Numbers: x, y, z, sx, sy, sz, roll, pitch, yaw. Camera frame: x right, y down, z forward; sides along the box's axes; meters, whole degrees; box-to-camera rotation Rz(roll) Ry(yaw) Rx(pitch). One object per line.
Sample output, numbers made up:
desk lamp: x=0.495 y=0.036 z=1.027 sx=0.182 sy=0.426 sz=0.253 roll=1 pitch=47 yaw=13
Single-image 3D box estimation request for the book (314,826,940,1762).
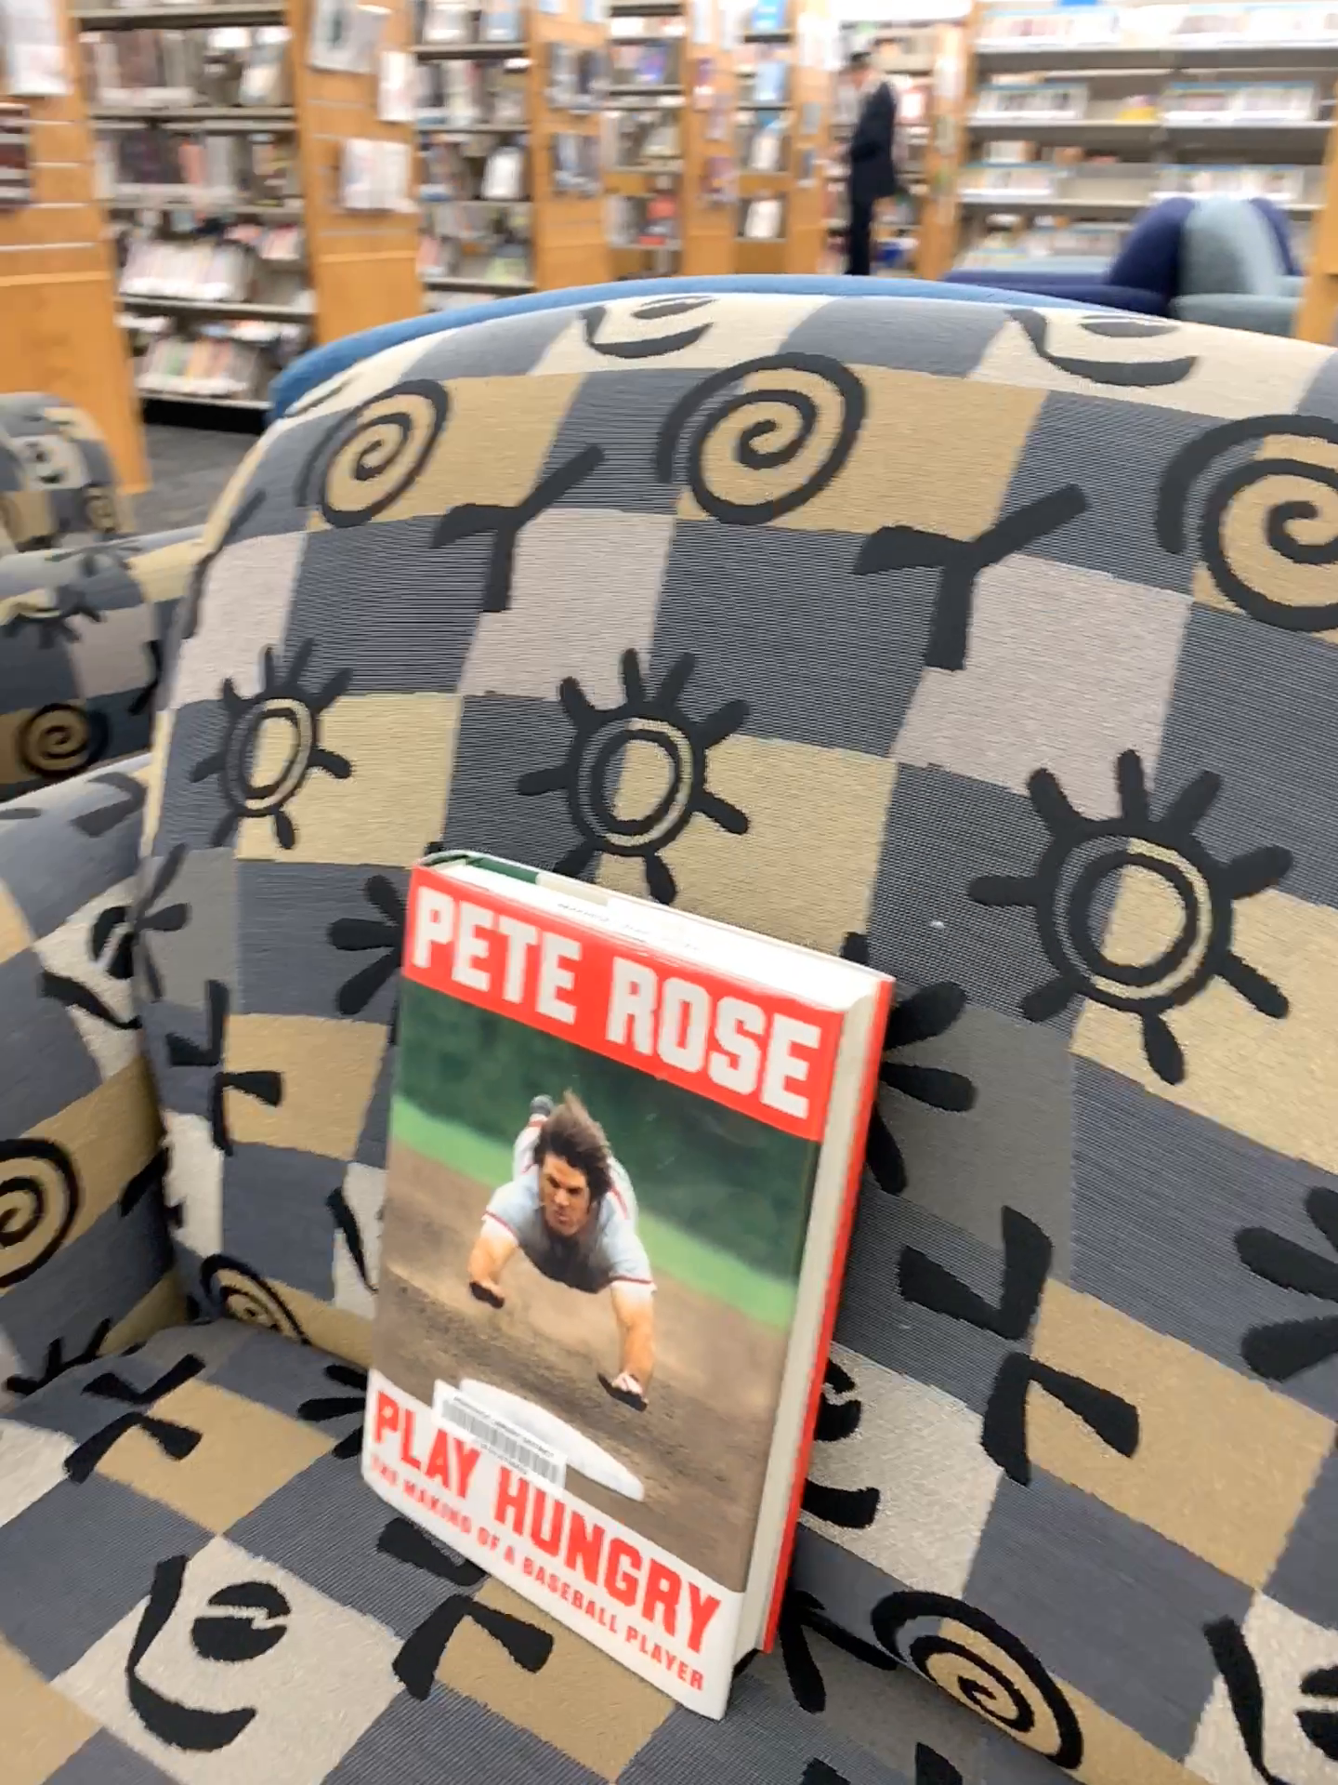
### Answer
book: x=-0.028 y=0.123 z=0.459 sx=0.190 sy=0.249 sz=0.040 roll=17 pitch=17 yaw=30
